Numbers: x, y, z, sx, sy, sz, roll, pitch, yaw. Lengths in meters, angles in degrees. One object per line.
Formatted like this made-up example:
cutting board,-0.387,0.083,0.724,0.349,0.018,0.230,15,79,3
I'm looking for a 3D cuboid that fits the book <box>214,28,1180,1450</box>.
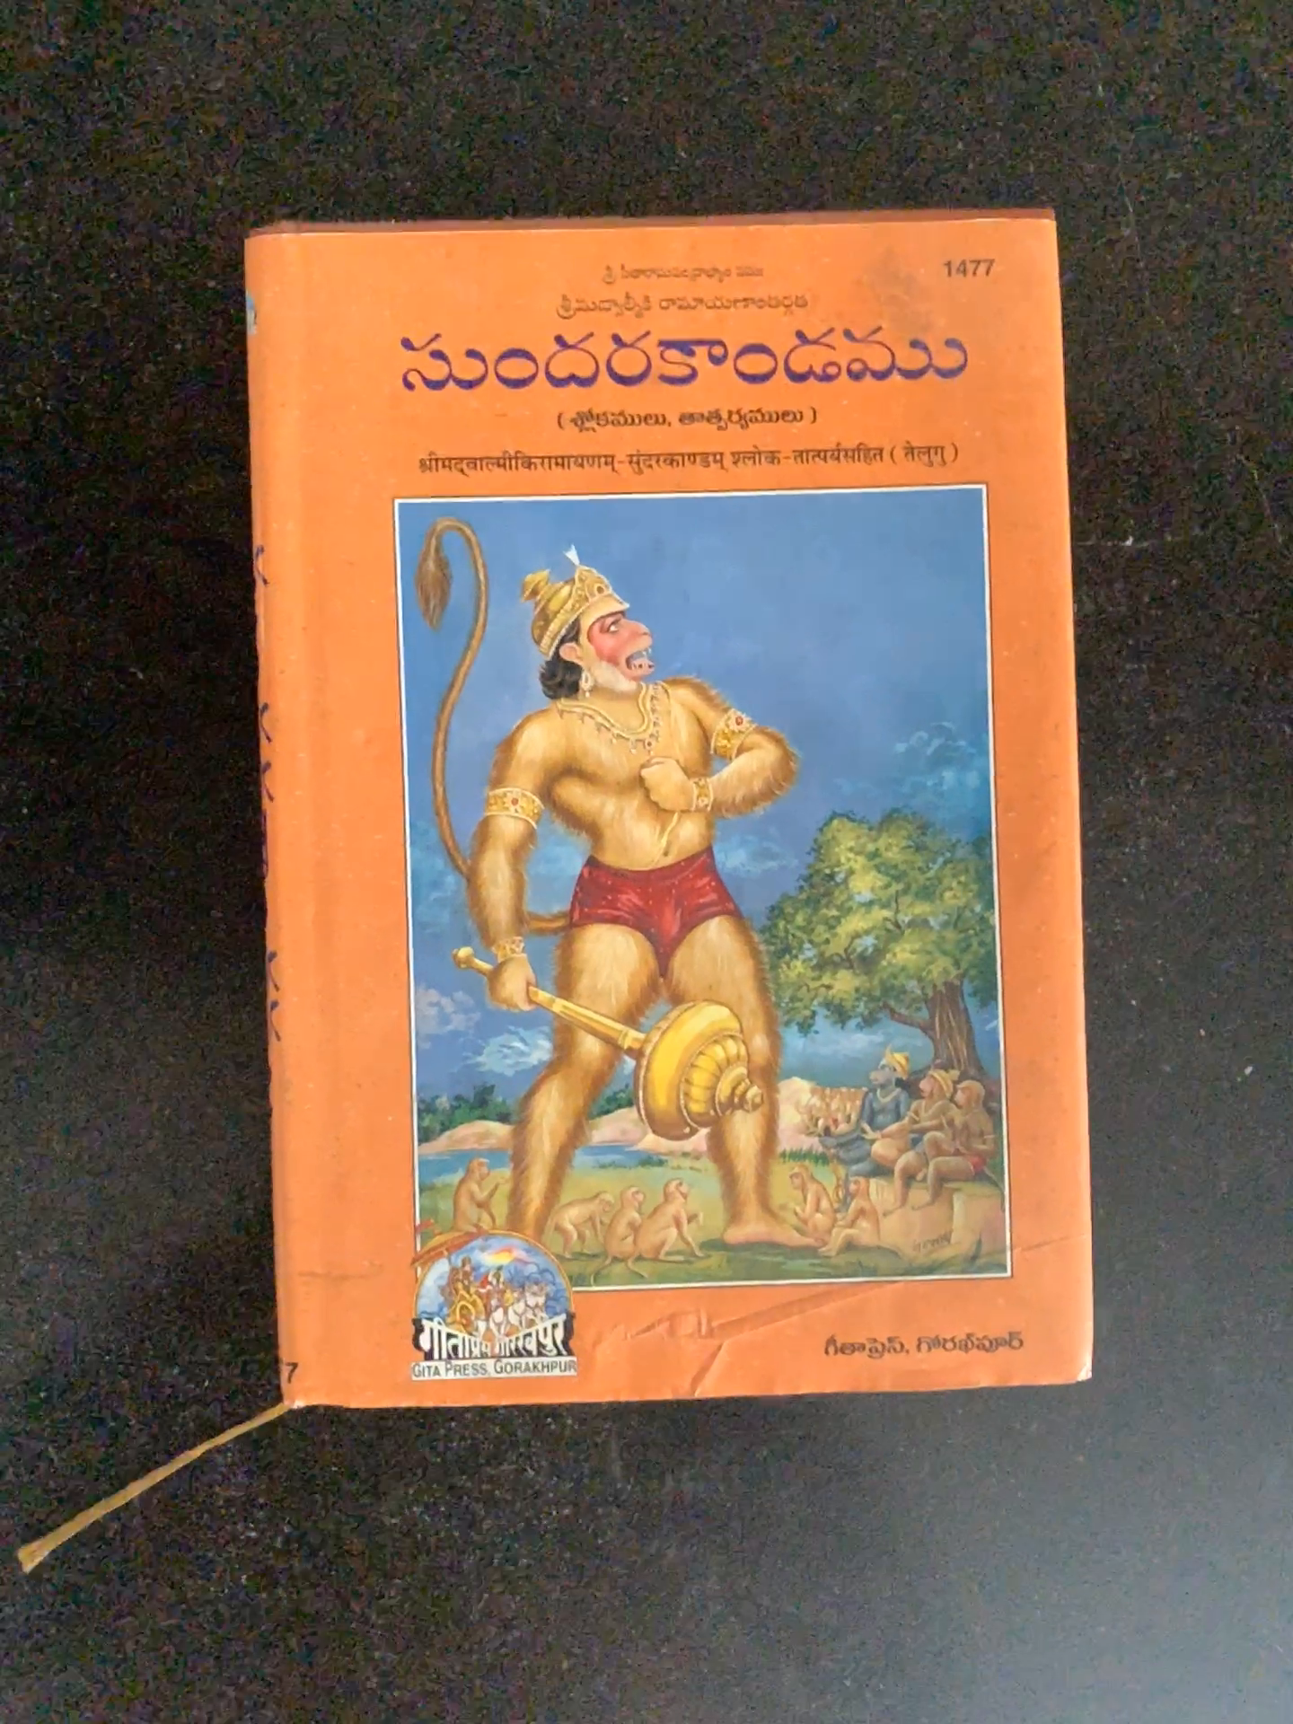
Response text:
book,0.011,-0.028,0.306,0.200,0.040,0.300,-1,90,-2
